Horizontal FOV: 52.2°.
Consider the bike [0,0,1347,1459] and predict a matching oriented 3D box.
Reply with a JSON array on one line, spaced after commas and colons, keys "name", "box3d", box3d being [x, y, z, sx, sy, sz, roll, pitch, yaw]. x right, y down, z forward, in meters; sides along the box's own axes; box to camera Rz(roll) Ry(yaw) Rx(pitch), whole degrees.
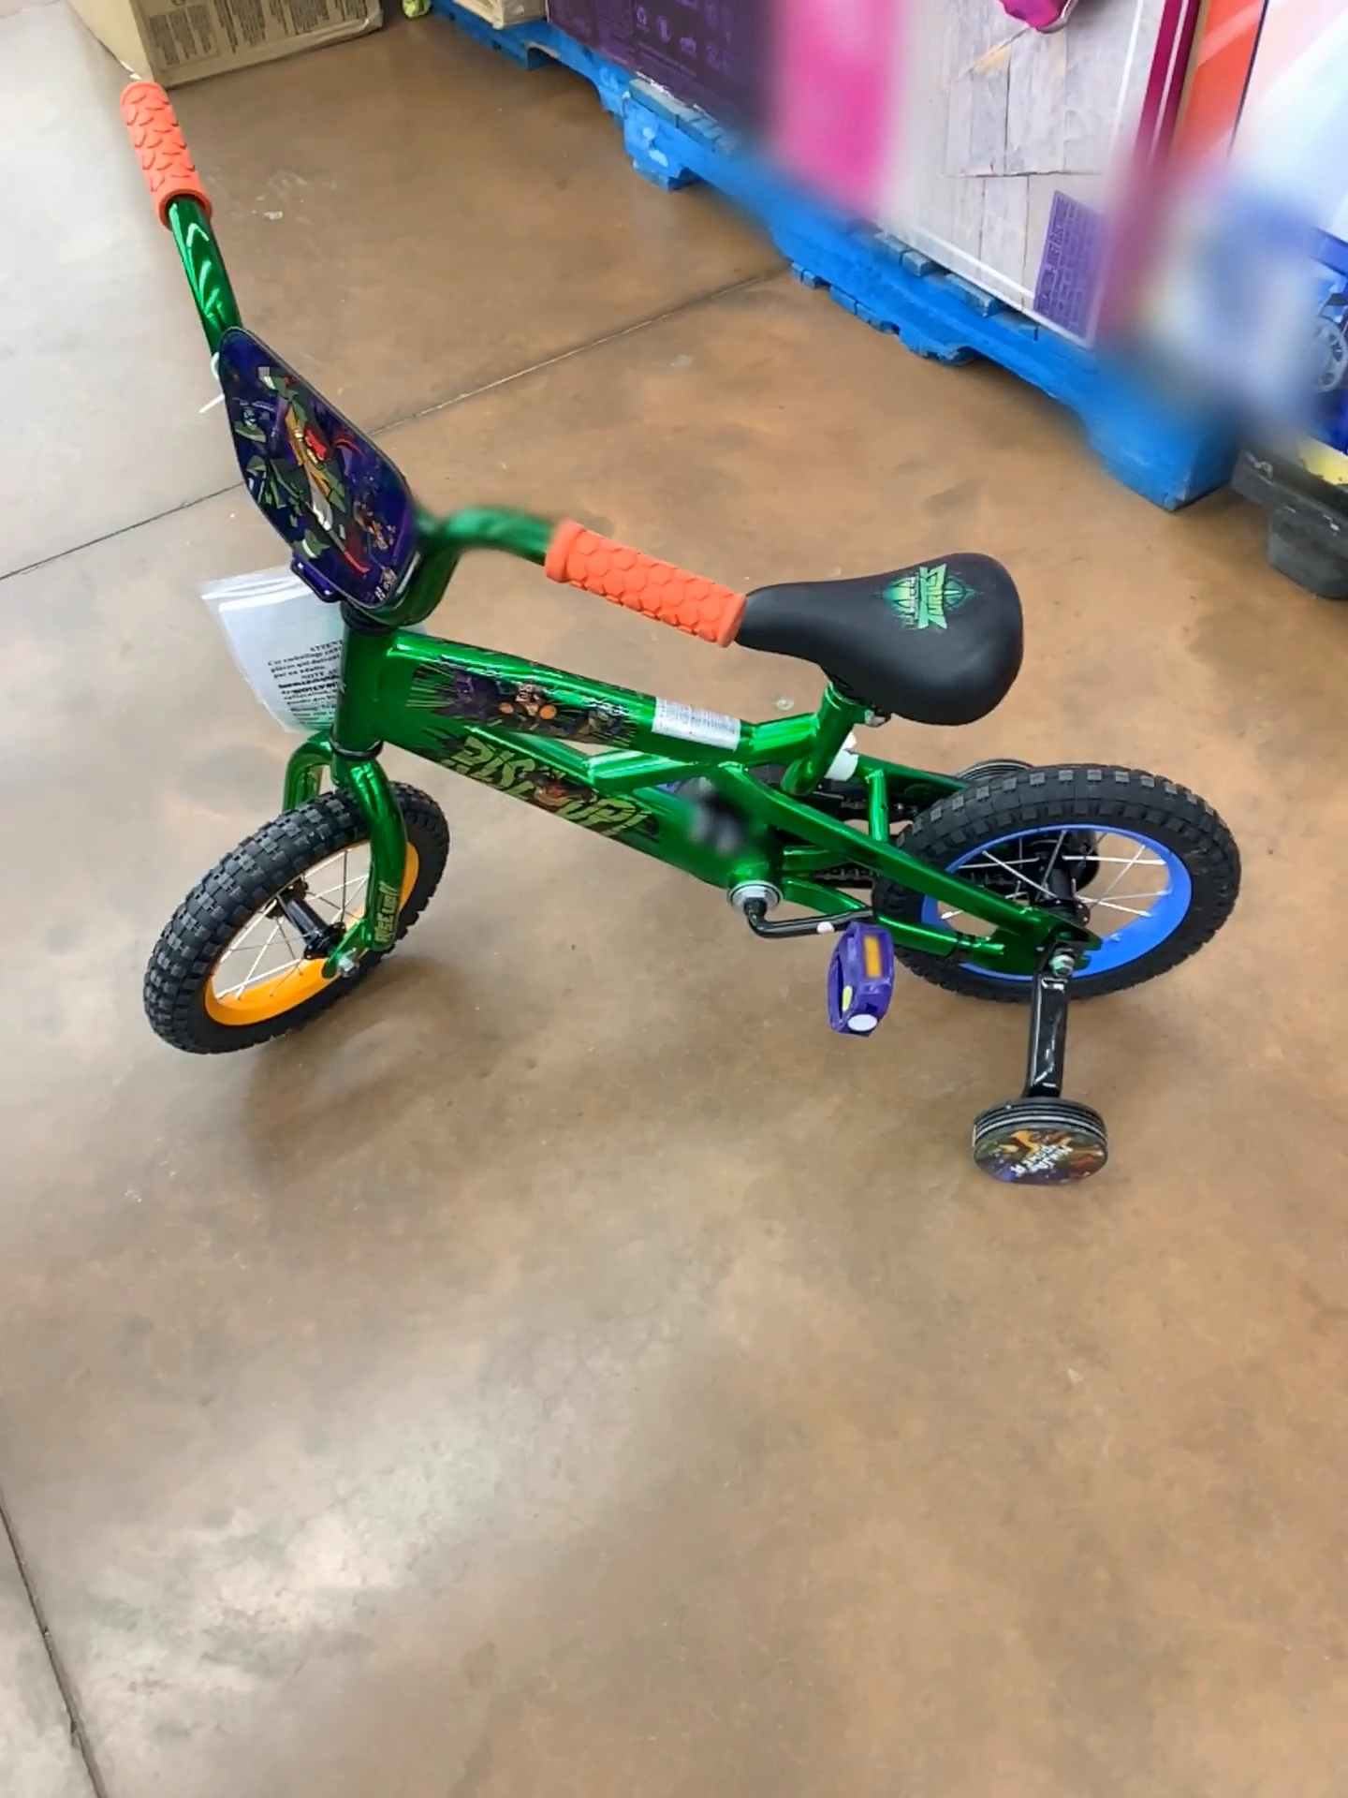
[{"name": "bike", "box3d": [0.037, -0.079, 0.868, 0.850, 0.733, 0.491, -6, 52, -5]}]
